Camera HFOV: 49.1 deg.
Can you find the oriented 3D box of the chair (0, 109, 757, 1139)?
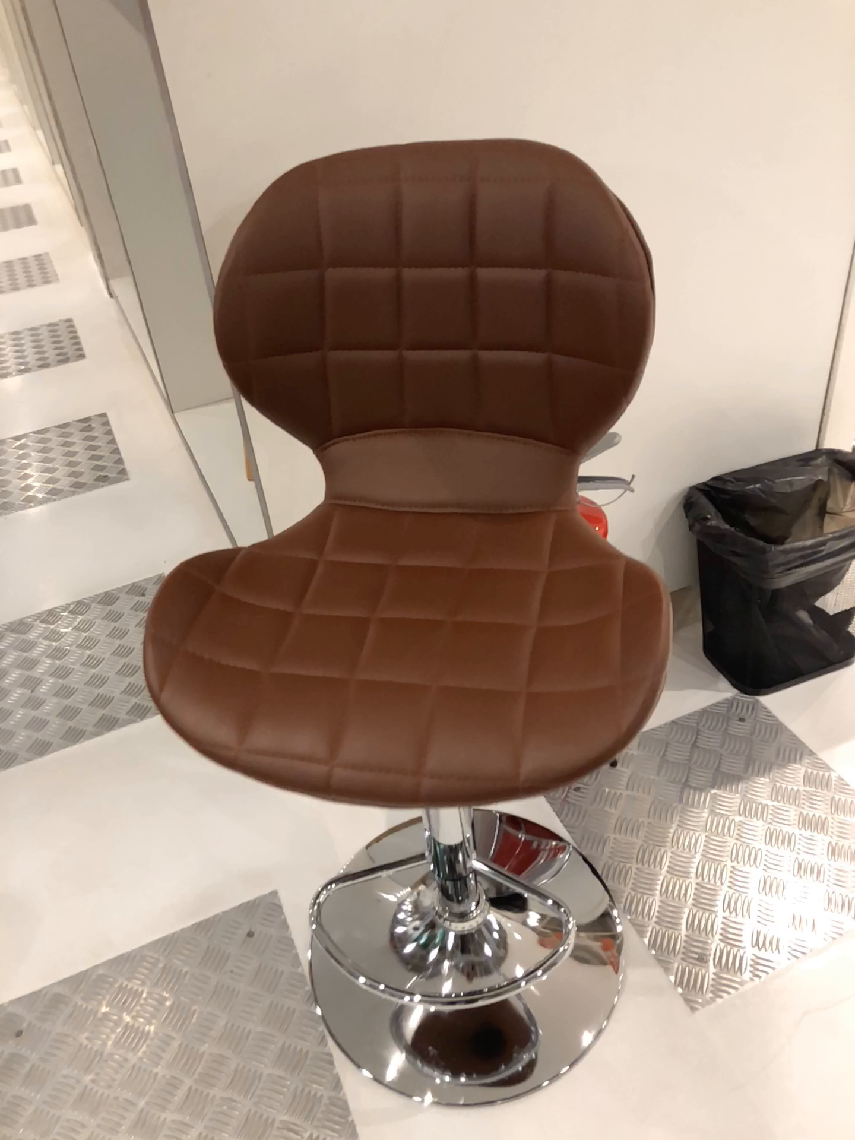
[{"bbox_3d":[-0.008,0.104,0.947,0.540,0.923,0.493,6,38,16],"label":"chair"}]
